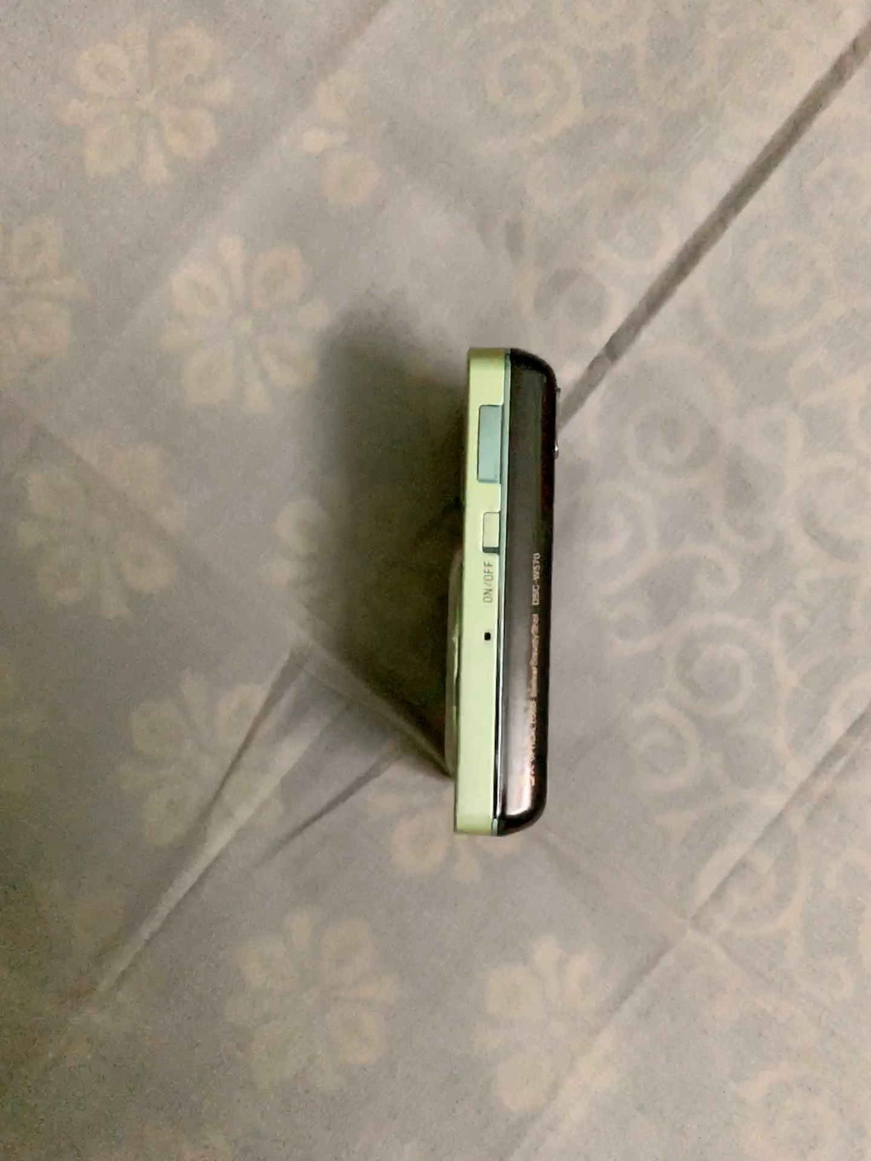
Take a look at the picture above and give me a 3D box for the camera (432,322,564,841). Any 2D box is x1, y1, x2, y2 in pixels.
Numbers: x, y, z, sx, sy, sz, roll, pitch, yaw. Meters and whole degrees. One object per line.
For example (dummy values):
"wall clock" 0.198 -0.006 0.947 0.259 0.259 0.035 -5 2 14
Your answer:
"camera" 0.011 0.001 0.185 0.021 0.060 0.088 1 87 0
